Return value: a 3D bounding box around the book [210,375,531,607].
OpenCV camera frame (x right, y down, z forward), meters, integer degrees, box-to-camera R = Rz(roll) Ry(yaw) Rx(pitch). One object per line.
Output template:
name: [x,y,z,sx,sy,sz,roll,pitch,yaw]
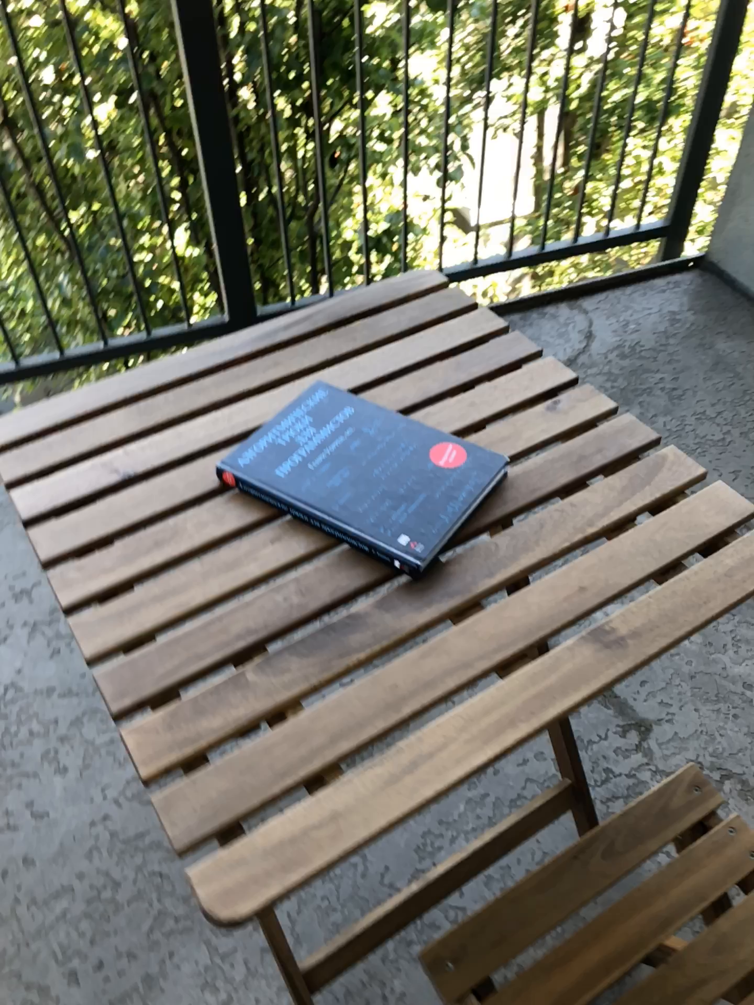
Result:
book: [-0.006,-0.024,0.810,0.250,0.030,0.180,25,51,24]
